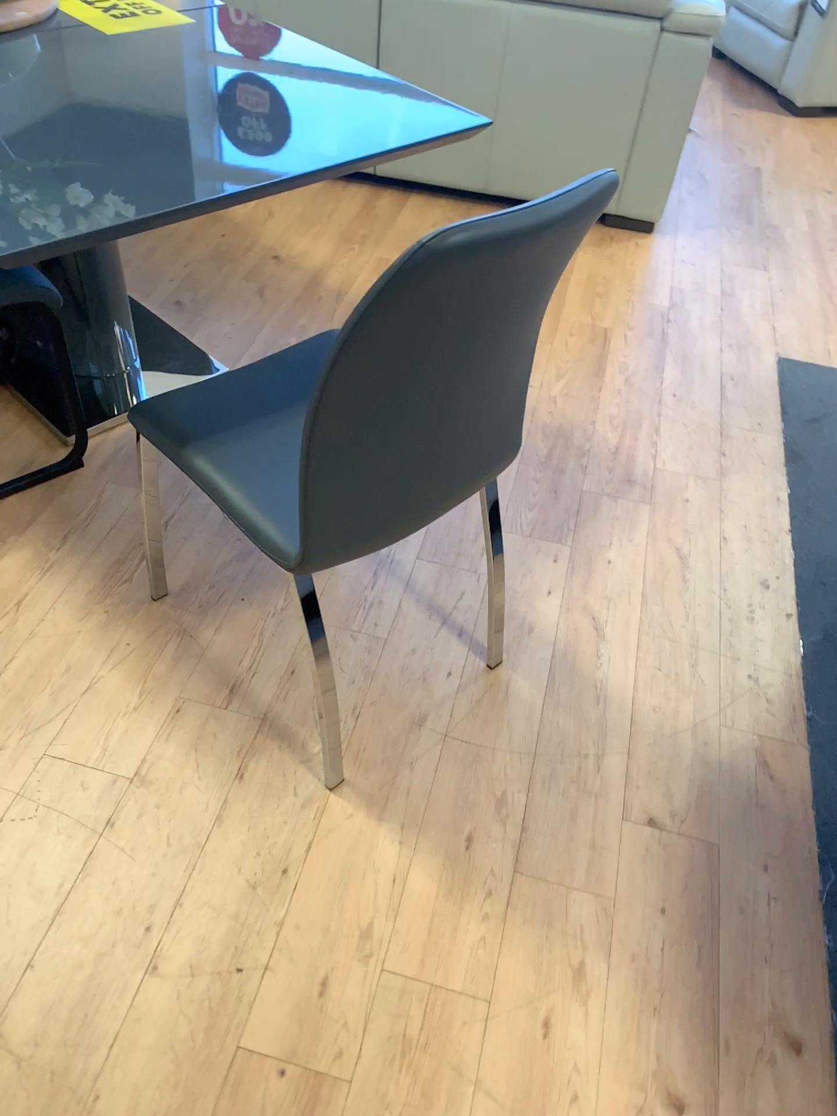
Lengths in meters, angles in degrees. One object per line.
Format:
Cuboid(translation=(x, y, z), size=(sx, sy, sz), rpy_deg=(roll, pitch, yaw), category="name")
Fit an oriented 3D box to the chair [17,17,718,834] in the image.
Cuboid(translation=(-0.103, -0.180, 1.259), size=(0.482, 0.891, 0.643), rpy_deg=(-30, 55, -30), category="chair")
